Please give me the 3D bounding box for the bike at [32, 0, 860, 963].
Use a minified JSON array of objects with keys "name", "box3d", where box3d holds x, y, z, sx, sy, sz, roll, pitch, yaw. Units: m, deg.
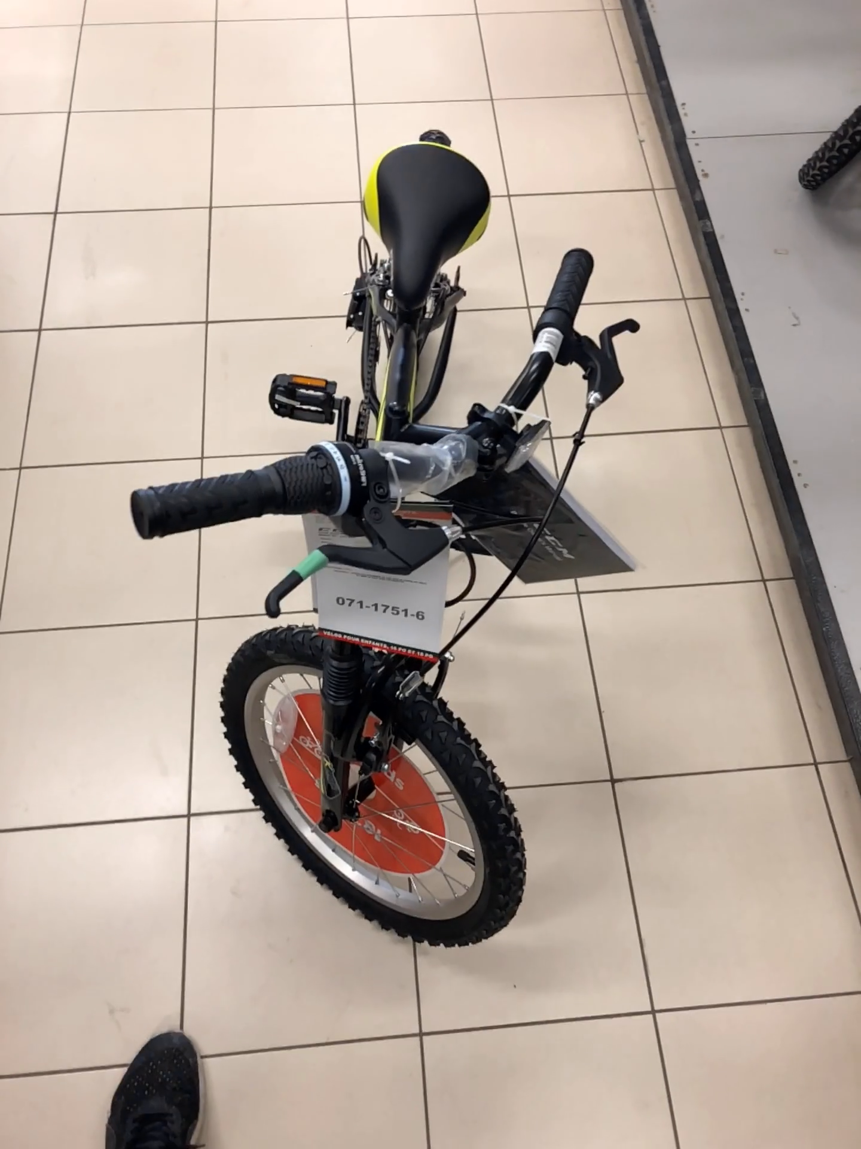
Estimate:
[{"name":"bike","box3d":[0.029,-0.225,1.138,0.549,0.862,1.198,-2,62,-3]}]
